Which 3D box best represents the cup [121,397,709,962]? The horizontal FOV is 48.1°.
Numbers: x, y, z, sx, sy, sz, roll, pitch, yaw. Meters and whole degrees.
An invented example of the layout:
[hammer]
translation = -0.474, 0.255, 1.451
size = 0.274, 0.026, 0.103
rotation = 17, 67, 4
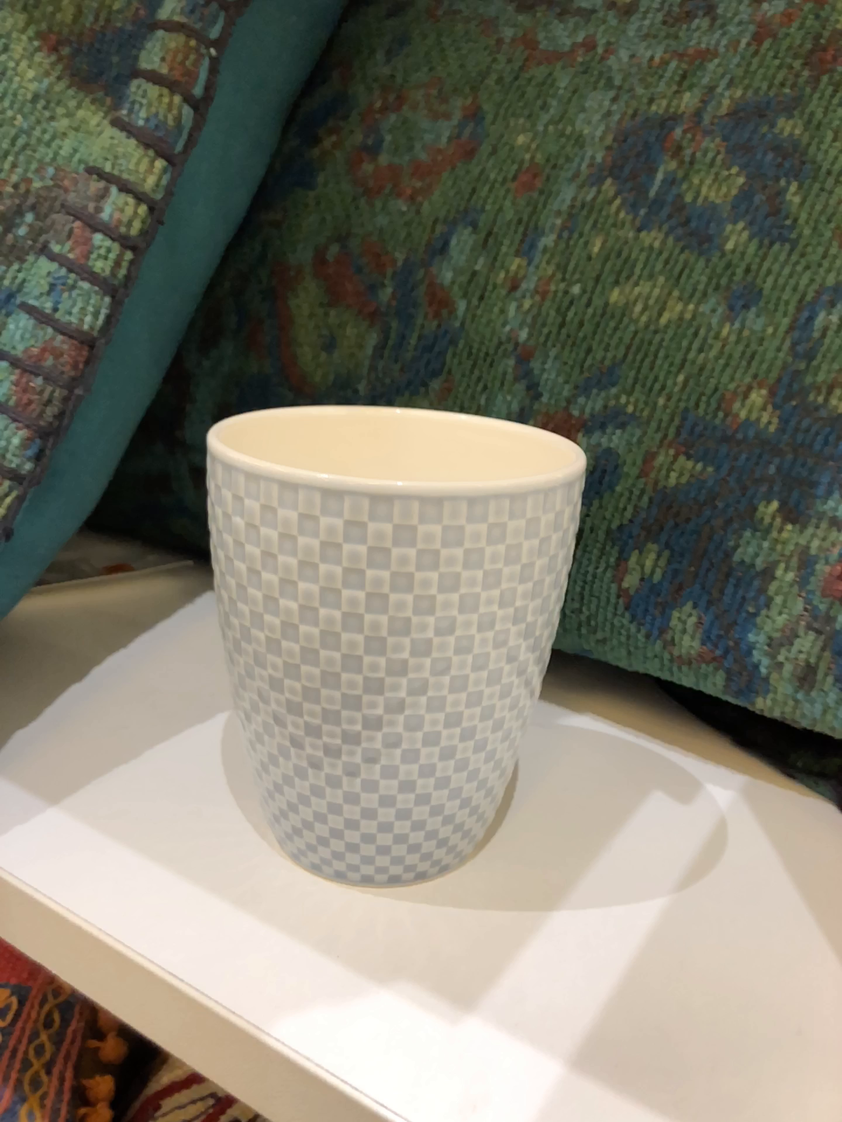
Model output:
[cup]
translation = -0.010, 0.012, 0.215
size = 0.090, 0.080, 0.100
rotation = -7, 20, -27
